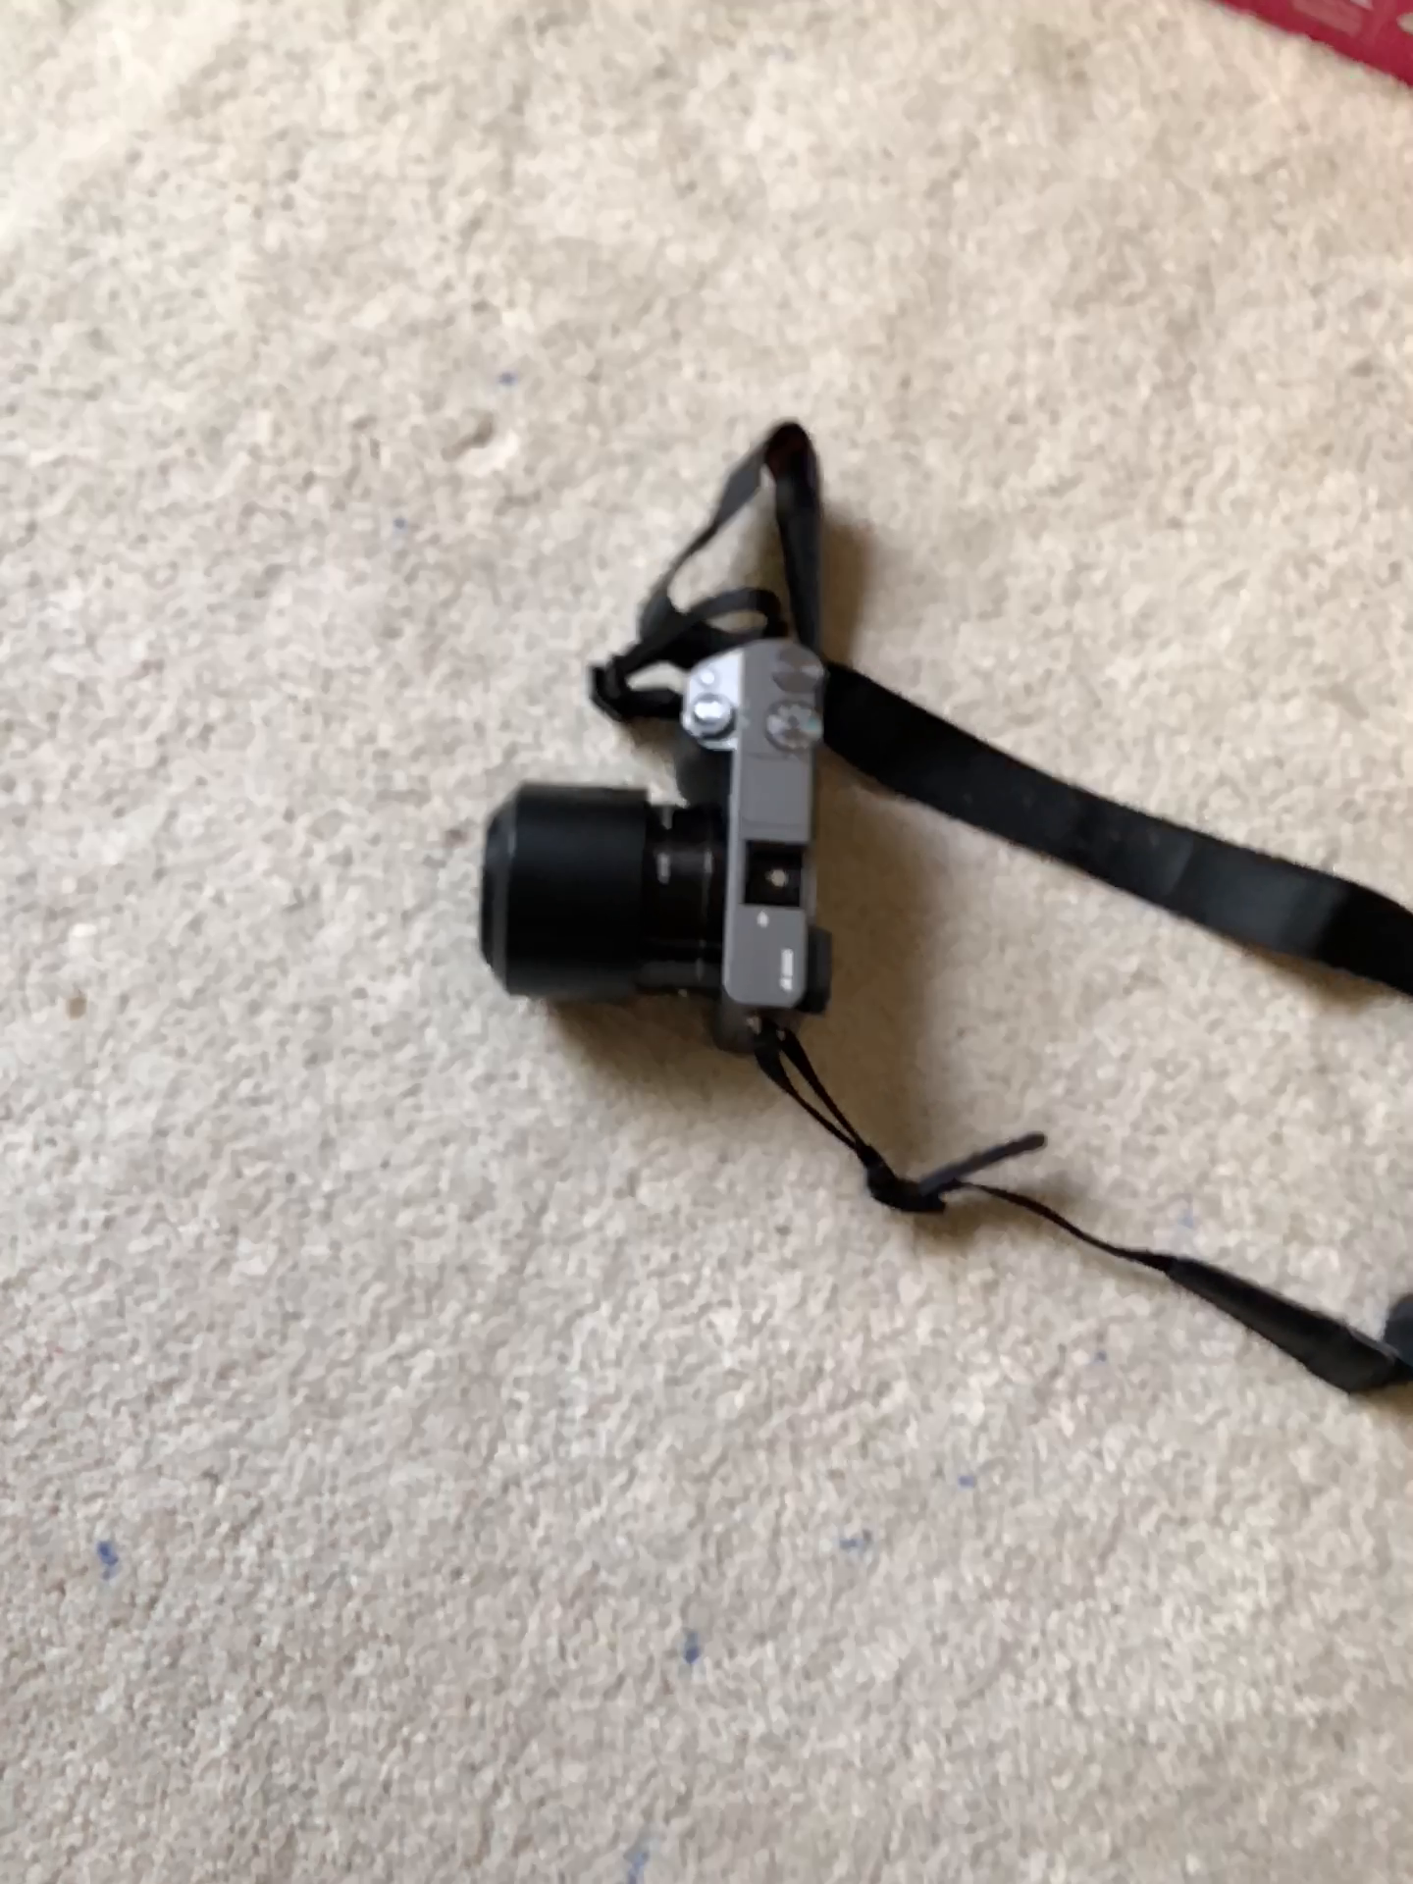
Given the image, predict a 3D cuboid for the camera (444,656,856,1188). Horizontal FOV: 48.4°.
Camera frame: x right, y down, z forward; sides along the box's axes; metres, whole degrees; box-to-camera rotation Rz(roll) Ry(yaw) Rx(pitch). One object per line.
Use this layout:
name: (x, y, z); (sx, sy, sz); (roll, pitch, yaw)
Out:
camera: (-0.015, -0.004, 0.474); (0.110, 0.070, 0.140); (3, 72, -3)
